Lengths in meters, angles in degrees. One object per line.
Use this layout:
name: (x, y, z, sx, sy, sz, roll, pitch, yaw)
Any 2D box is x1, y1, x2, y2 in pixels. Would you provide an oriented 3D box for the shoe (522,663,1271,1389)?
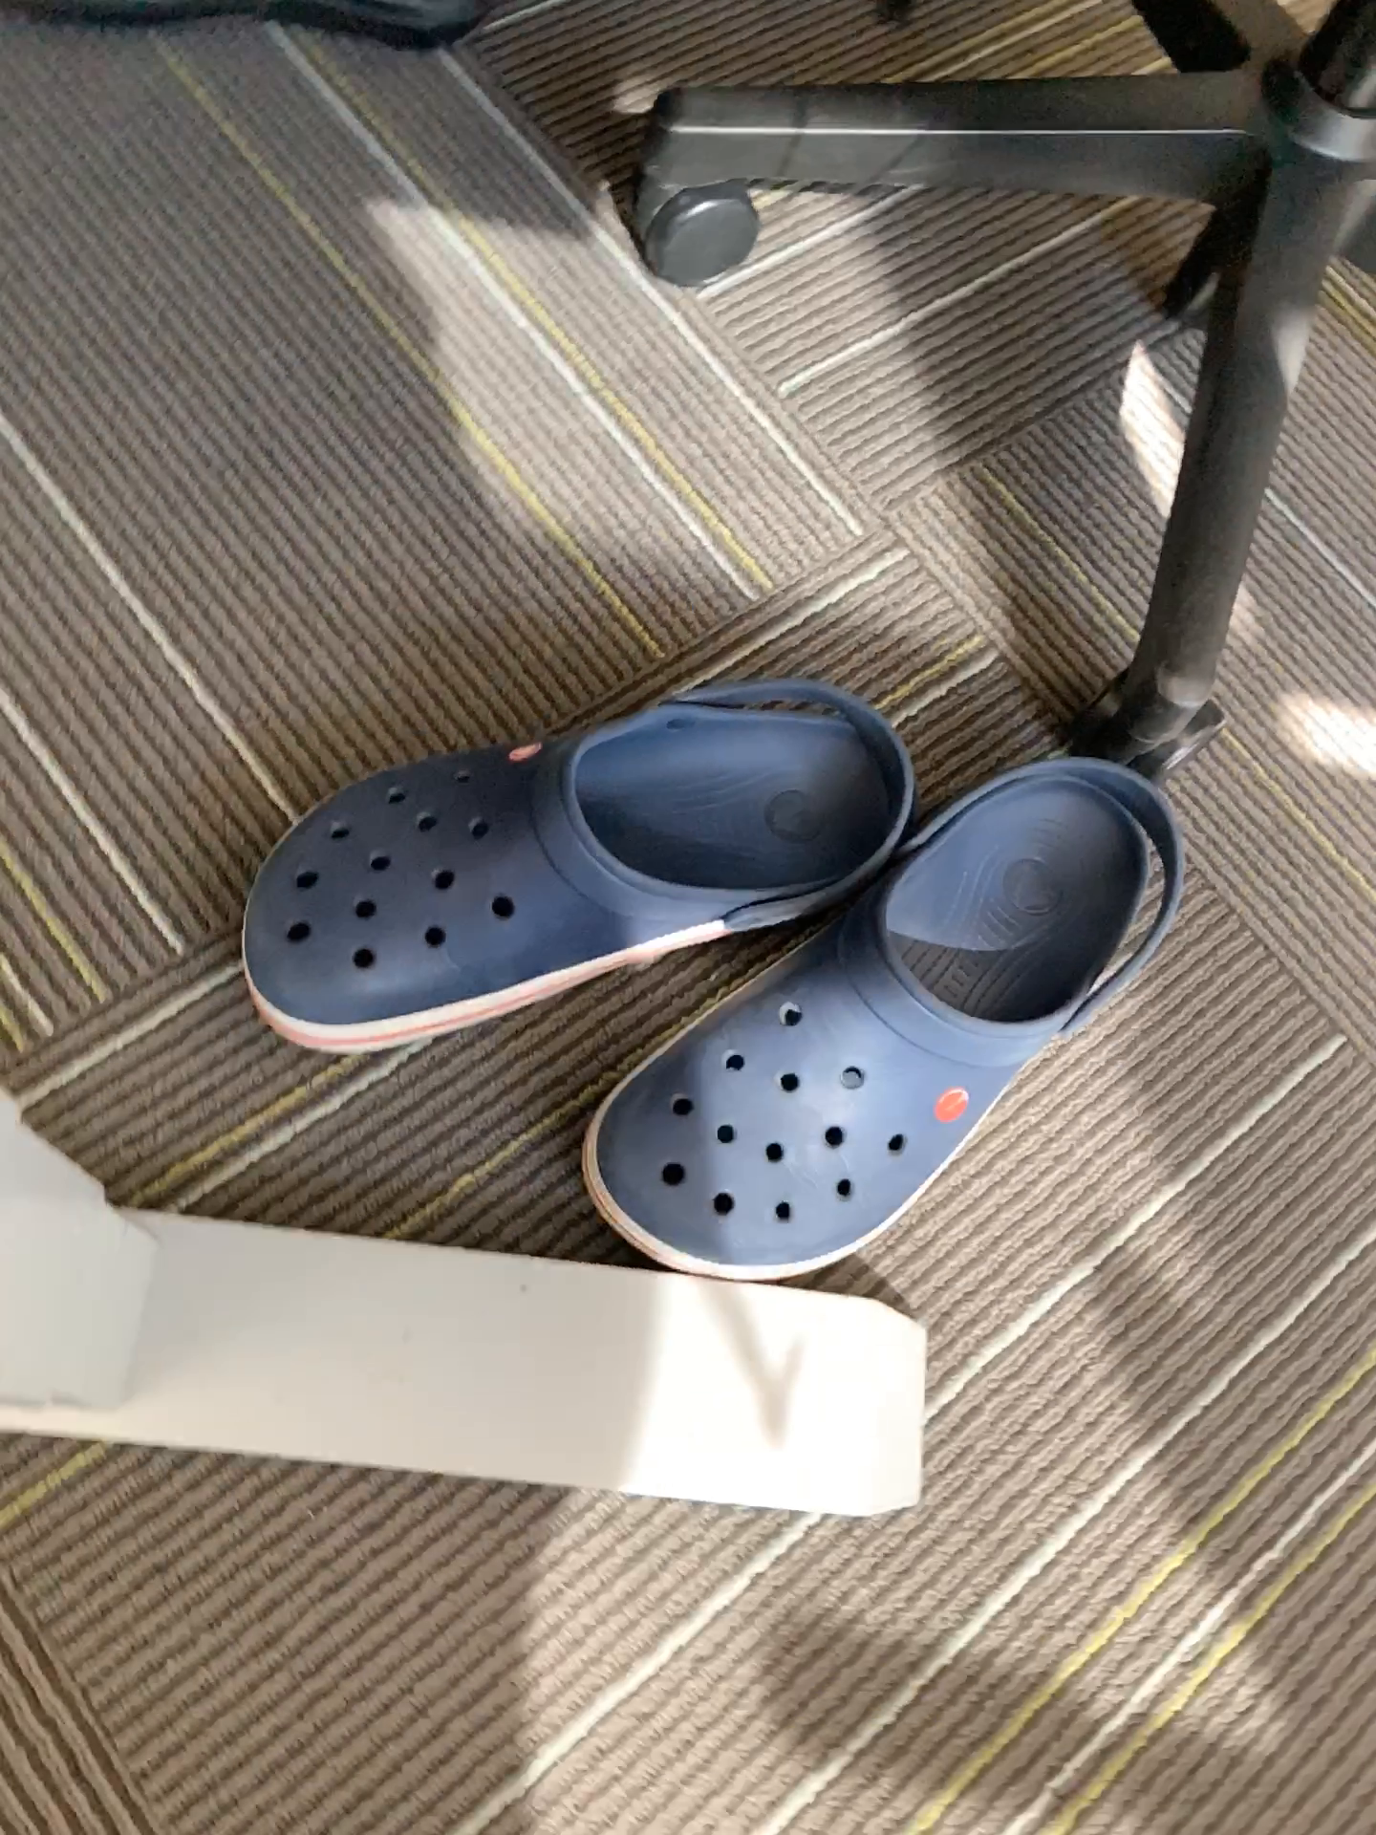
shoe: (0.096, 0.041, 0.632, 0.330, 0.080, 0.130, -40, 81, -20)

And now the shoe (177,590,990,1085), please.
shoe: (-0.044, -0.039, 0.635, 0.320, 0.080, 0.130, -15, 74, -14)
